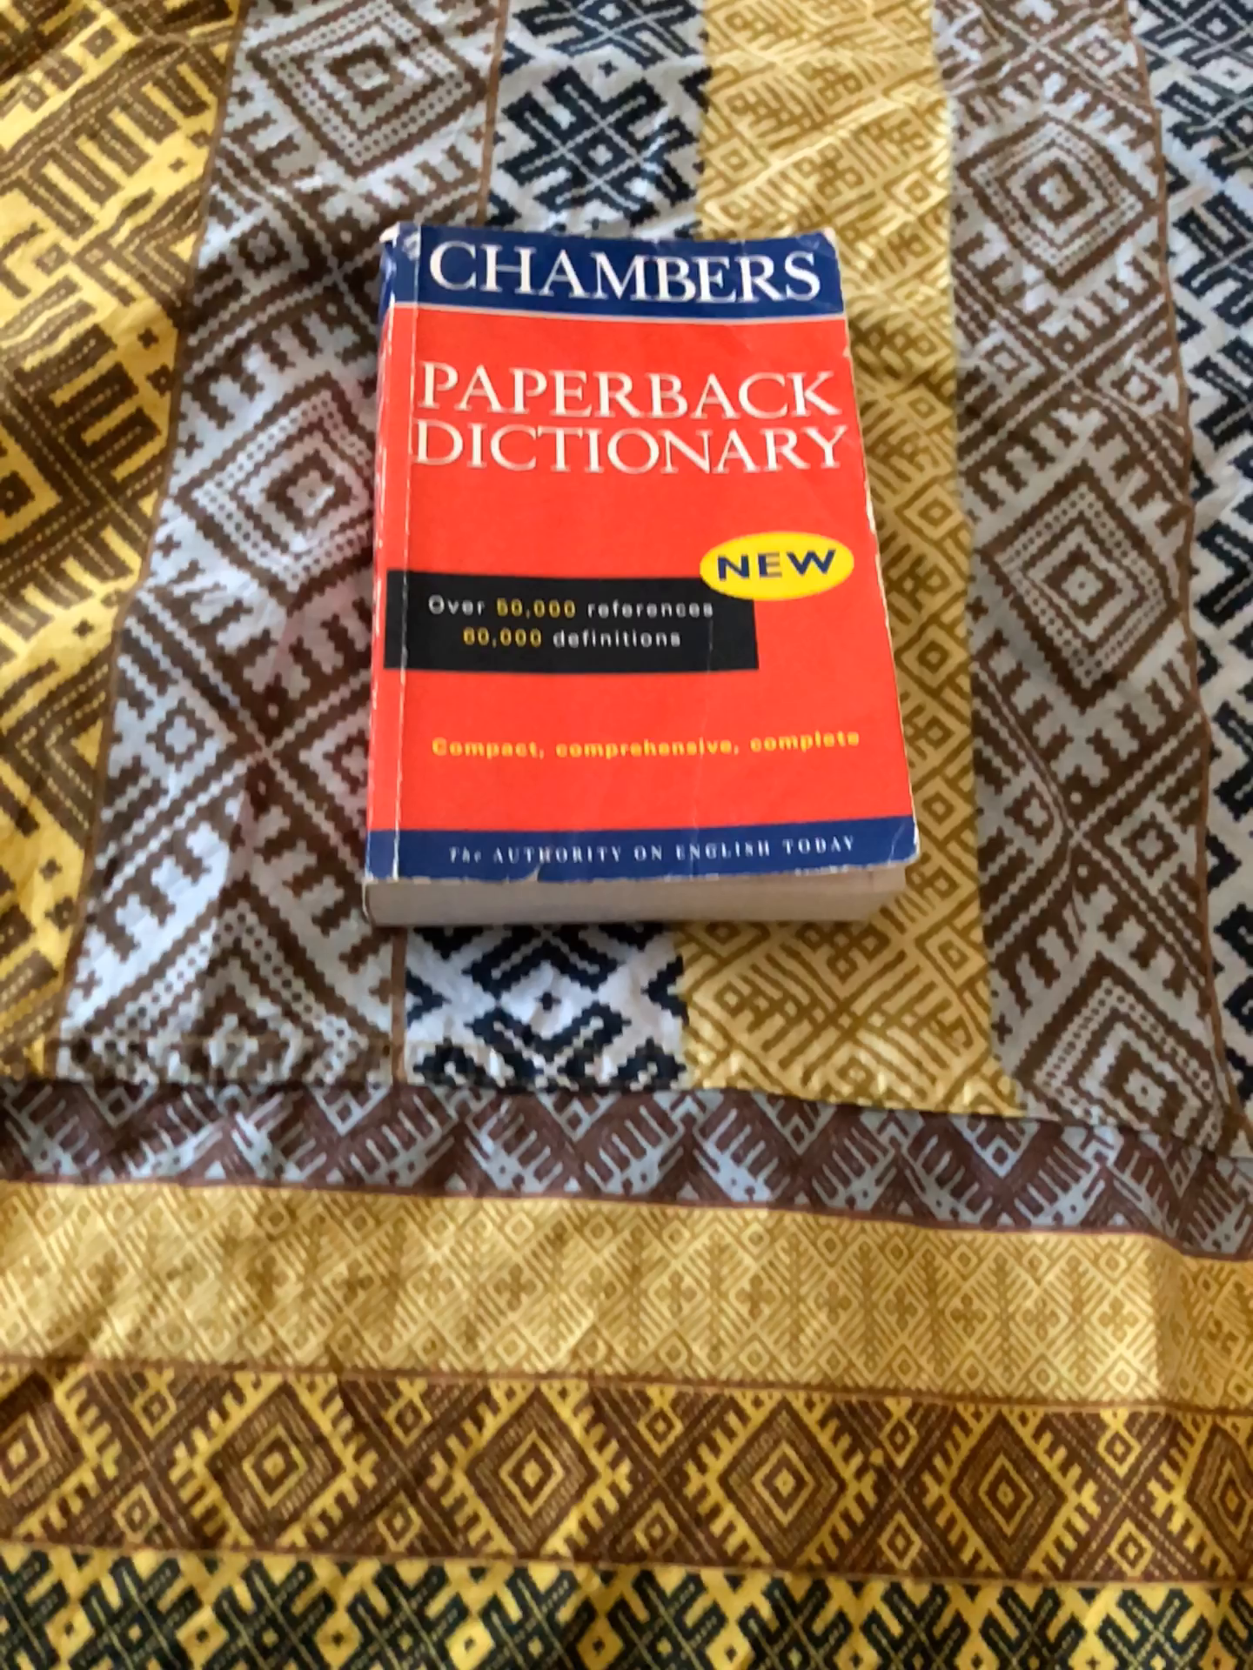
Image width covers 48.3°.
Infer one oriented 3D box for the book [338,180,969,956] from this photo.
[{"bbox_3d":[0.000,-0.061,0.306,0.117,0.044,0.166,-1,69,-6],"label":"book"}]
